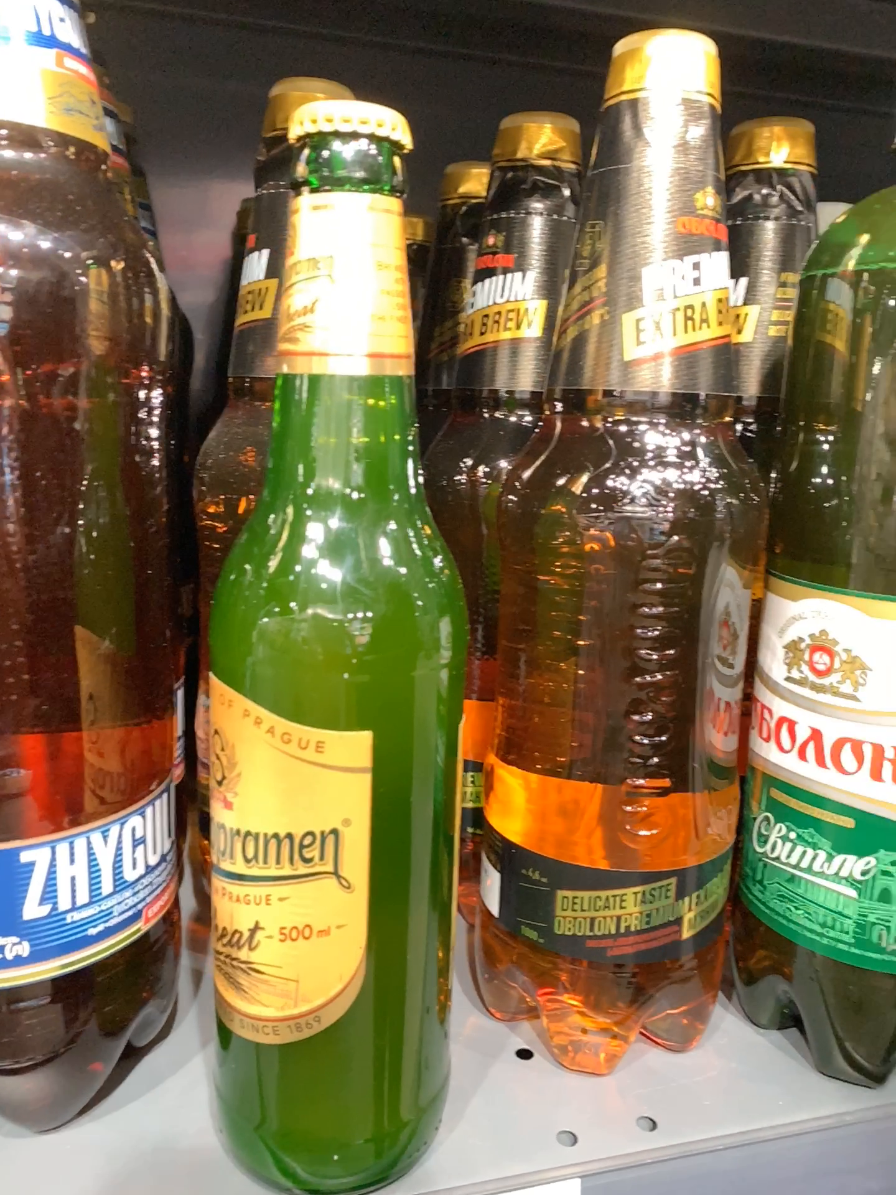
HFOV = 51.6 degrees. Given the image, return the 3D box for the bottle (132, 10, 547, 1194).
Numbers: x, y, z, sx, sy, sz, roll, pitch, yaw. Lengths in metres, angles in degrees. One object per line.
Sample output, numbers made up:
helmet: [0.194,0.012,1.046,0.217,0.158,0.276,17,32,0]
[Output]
bottle: [-0.026,0.013,0.230,0.062,0.255,0.068,2,12,0]

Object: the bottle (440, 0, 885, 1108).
bottle: [0.051,-0.010,0.260,0.075,0.270,0.066,-4,13,-28]
